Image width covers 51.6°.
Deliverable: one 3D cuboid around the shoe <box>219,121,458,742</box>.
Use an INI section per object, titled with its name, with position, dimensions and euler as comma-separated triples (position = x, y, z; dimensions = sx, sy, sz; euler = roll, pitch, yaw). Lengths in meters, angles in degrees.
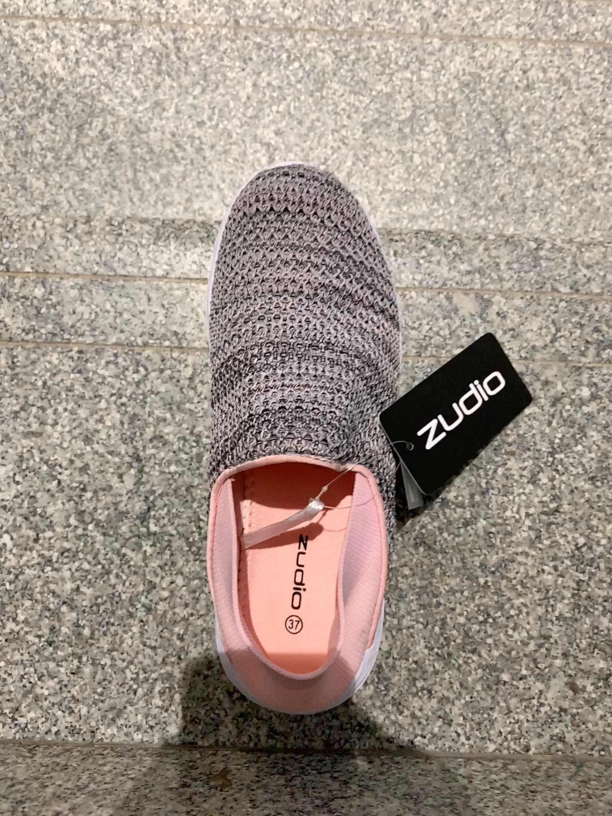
[shoe]
position = 0.014, 0.009, 0.298
dimensions = 0.090, 0.080, 0.250
euler = 2, 88, -1
